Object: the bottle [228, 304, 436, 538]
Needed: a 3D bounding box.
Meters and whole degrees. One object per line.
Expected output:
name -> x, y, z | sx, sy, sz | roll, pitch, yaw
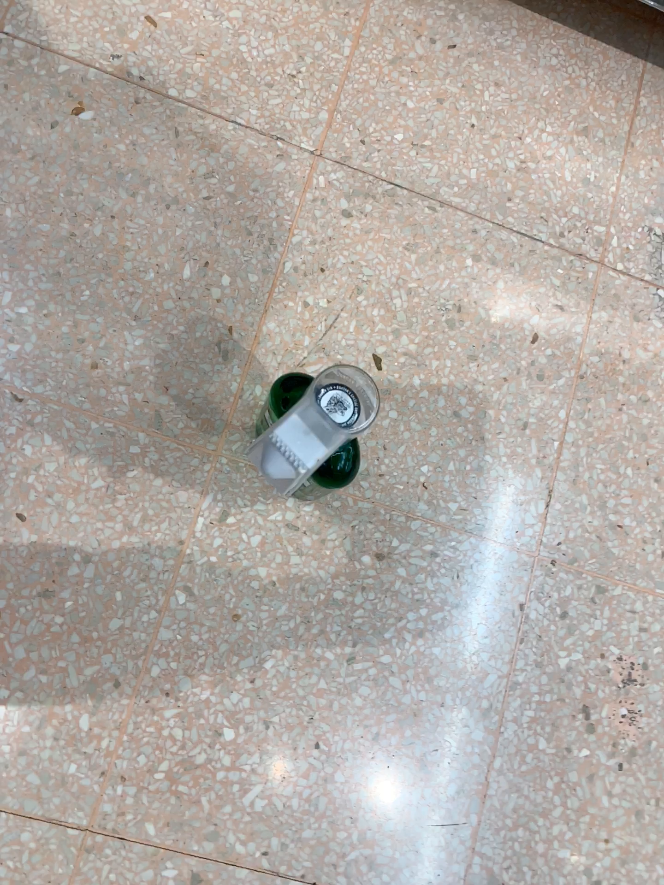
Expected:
bottle -> -0.014, 0.001, 0.444 | 0.055, 0.204, 0.102 | -29, 87, -14
